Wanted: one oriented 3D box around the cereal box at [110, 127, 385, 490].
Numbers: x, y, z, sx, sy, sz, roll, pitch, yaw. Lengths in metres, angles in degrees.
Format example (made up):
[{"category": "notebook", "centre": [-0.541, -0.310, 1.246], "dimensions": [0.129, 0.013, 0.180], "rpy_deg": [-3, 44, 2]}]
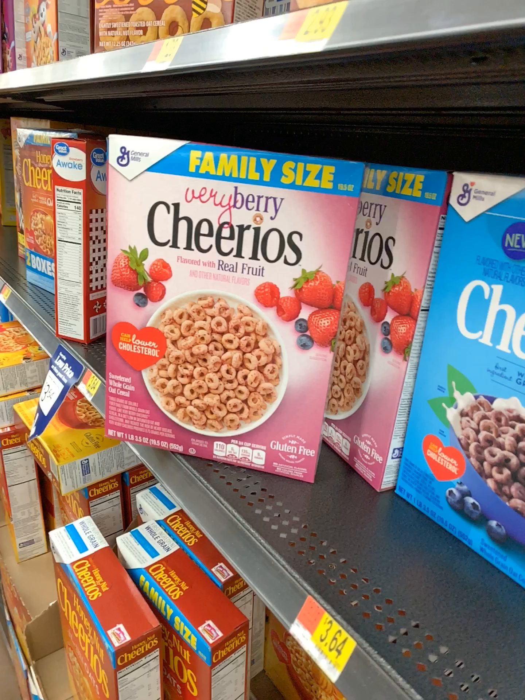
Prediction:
[{"category": "cereal box", "centre": [-0.026, -0.039, 0.542], "dimensions": [0.240, 0.319, 0.060], "rpy_deg": [10, 18, 11]}]
